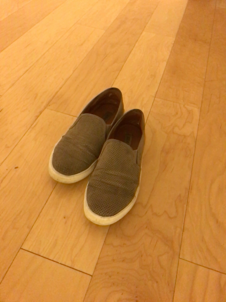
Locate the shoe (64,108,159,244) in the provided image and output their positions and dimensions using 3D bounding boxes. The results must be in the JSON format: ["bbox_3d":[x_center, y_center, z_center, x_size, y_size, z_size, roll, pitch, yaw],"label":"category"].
[{"bbox_3d":[0.011,0.029,0.505,0.110,0.050,0.282,15,50,8],"label":"shoe"}]

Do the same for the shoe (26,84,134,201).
[{"bbox_3d":[-0.057,-0.037,0.554,0.110,0.060,0.282,21,51,13],"label":"shoe"}]
